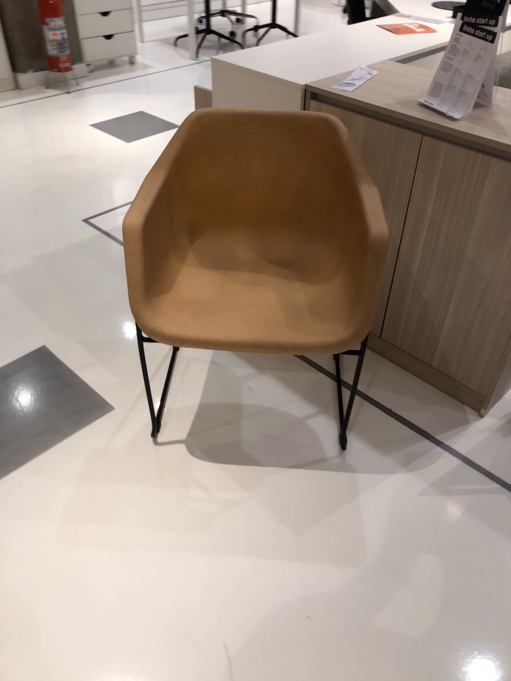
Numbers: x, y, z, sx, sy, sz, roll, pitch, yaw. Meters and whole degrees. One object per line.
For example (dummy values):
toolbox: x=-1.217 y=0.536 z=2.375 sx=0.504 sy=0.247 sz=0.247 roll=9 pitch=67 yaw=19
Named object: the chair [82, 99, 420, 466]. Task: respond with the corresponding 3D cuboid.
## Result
chair: x=-0.005 y=-0.148 z=1.421 sx=0.590 sy=0.705 sz=0.574 roll=2 pitch=39 yaw=1
